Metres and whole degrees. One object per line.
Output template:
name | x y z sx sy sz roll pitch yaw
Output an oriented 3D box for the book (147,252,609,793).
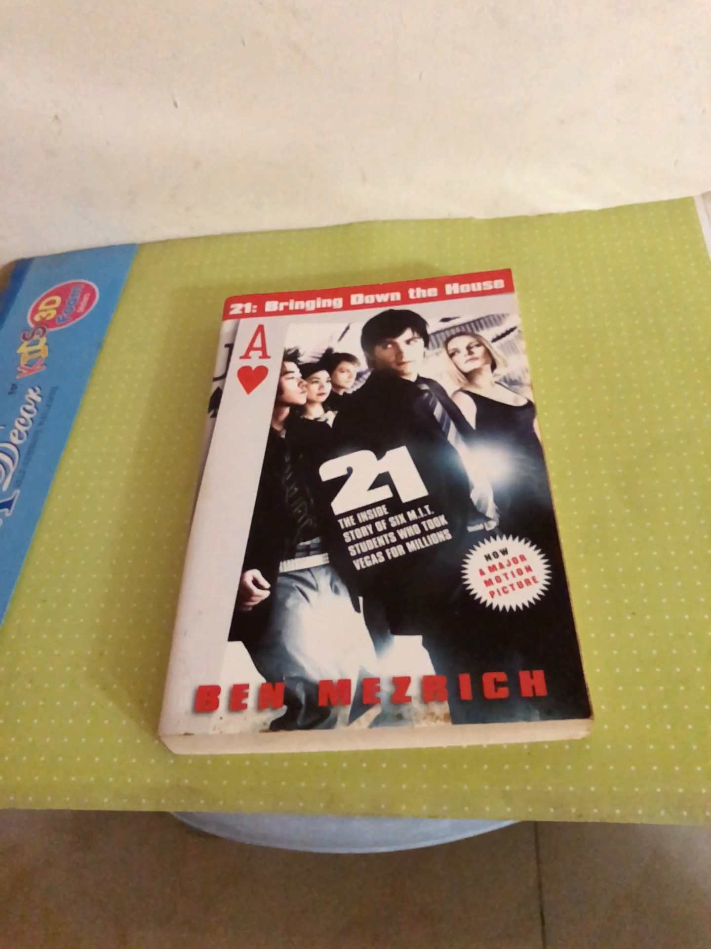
book | 0.006 0.004 0.303 0.130 0.040 0.211 -4 52 5
